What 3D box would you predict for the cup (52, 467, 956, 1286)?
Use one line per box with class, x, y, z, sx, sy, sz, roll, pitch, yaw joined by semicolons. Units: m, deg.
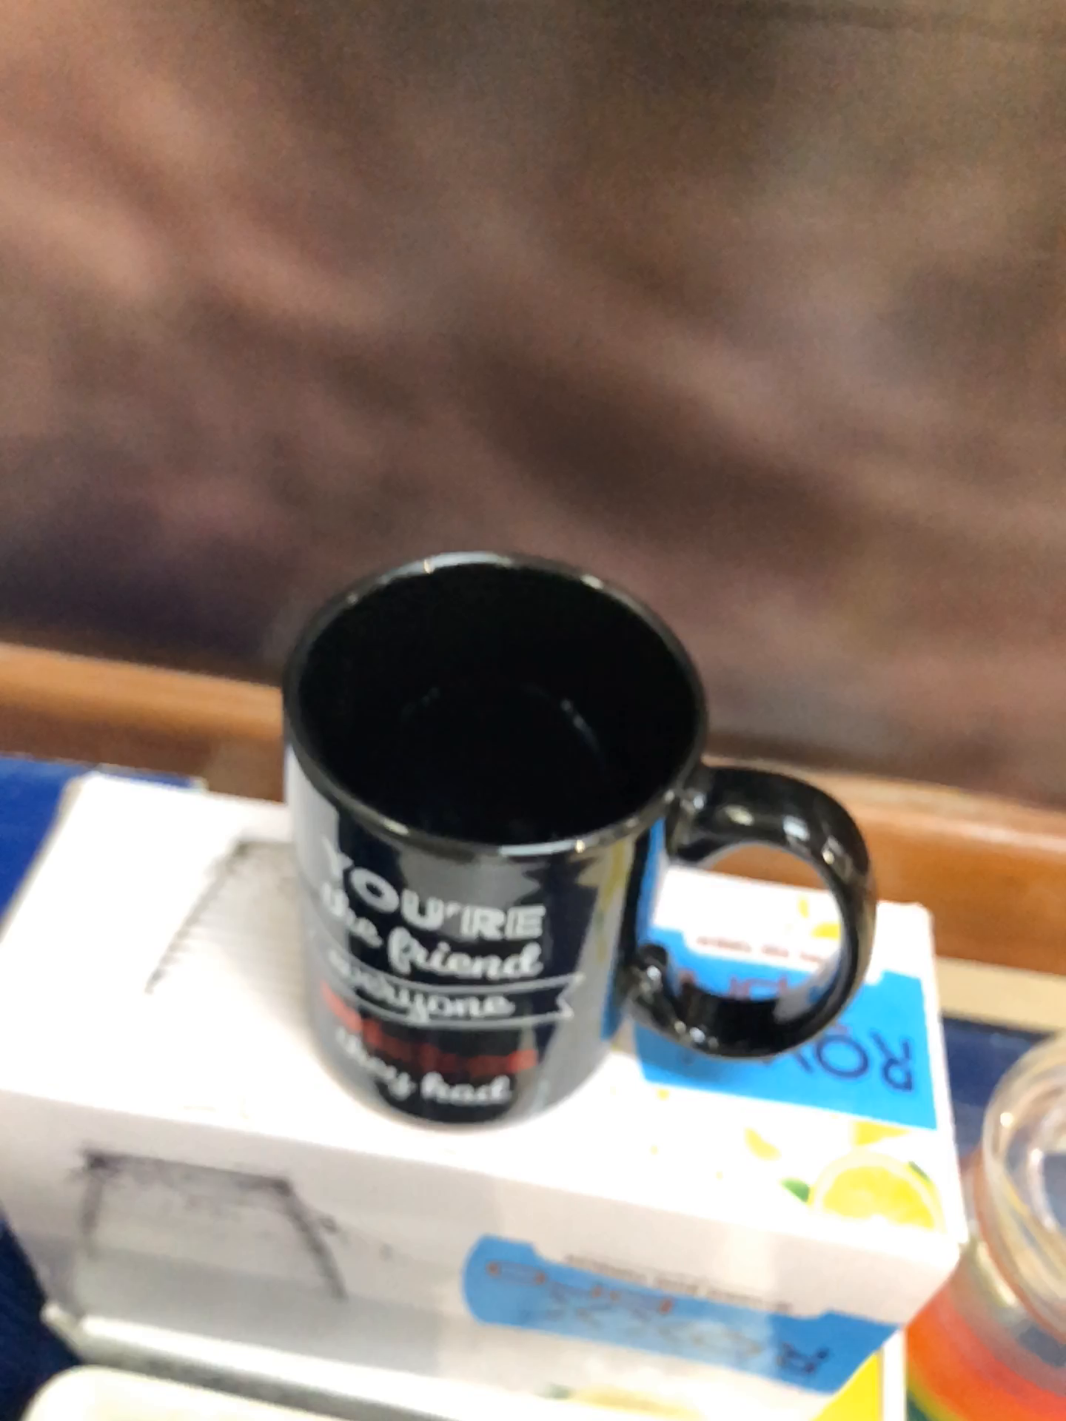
cup;0.000;0.032;0.240;0.130;0.109;0.090;10;44;7
